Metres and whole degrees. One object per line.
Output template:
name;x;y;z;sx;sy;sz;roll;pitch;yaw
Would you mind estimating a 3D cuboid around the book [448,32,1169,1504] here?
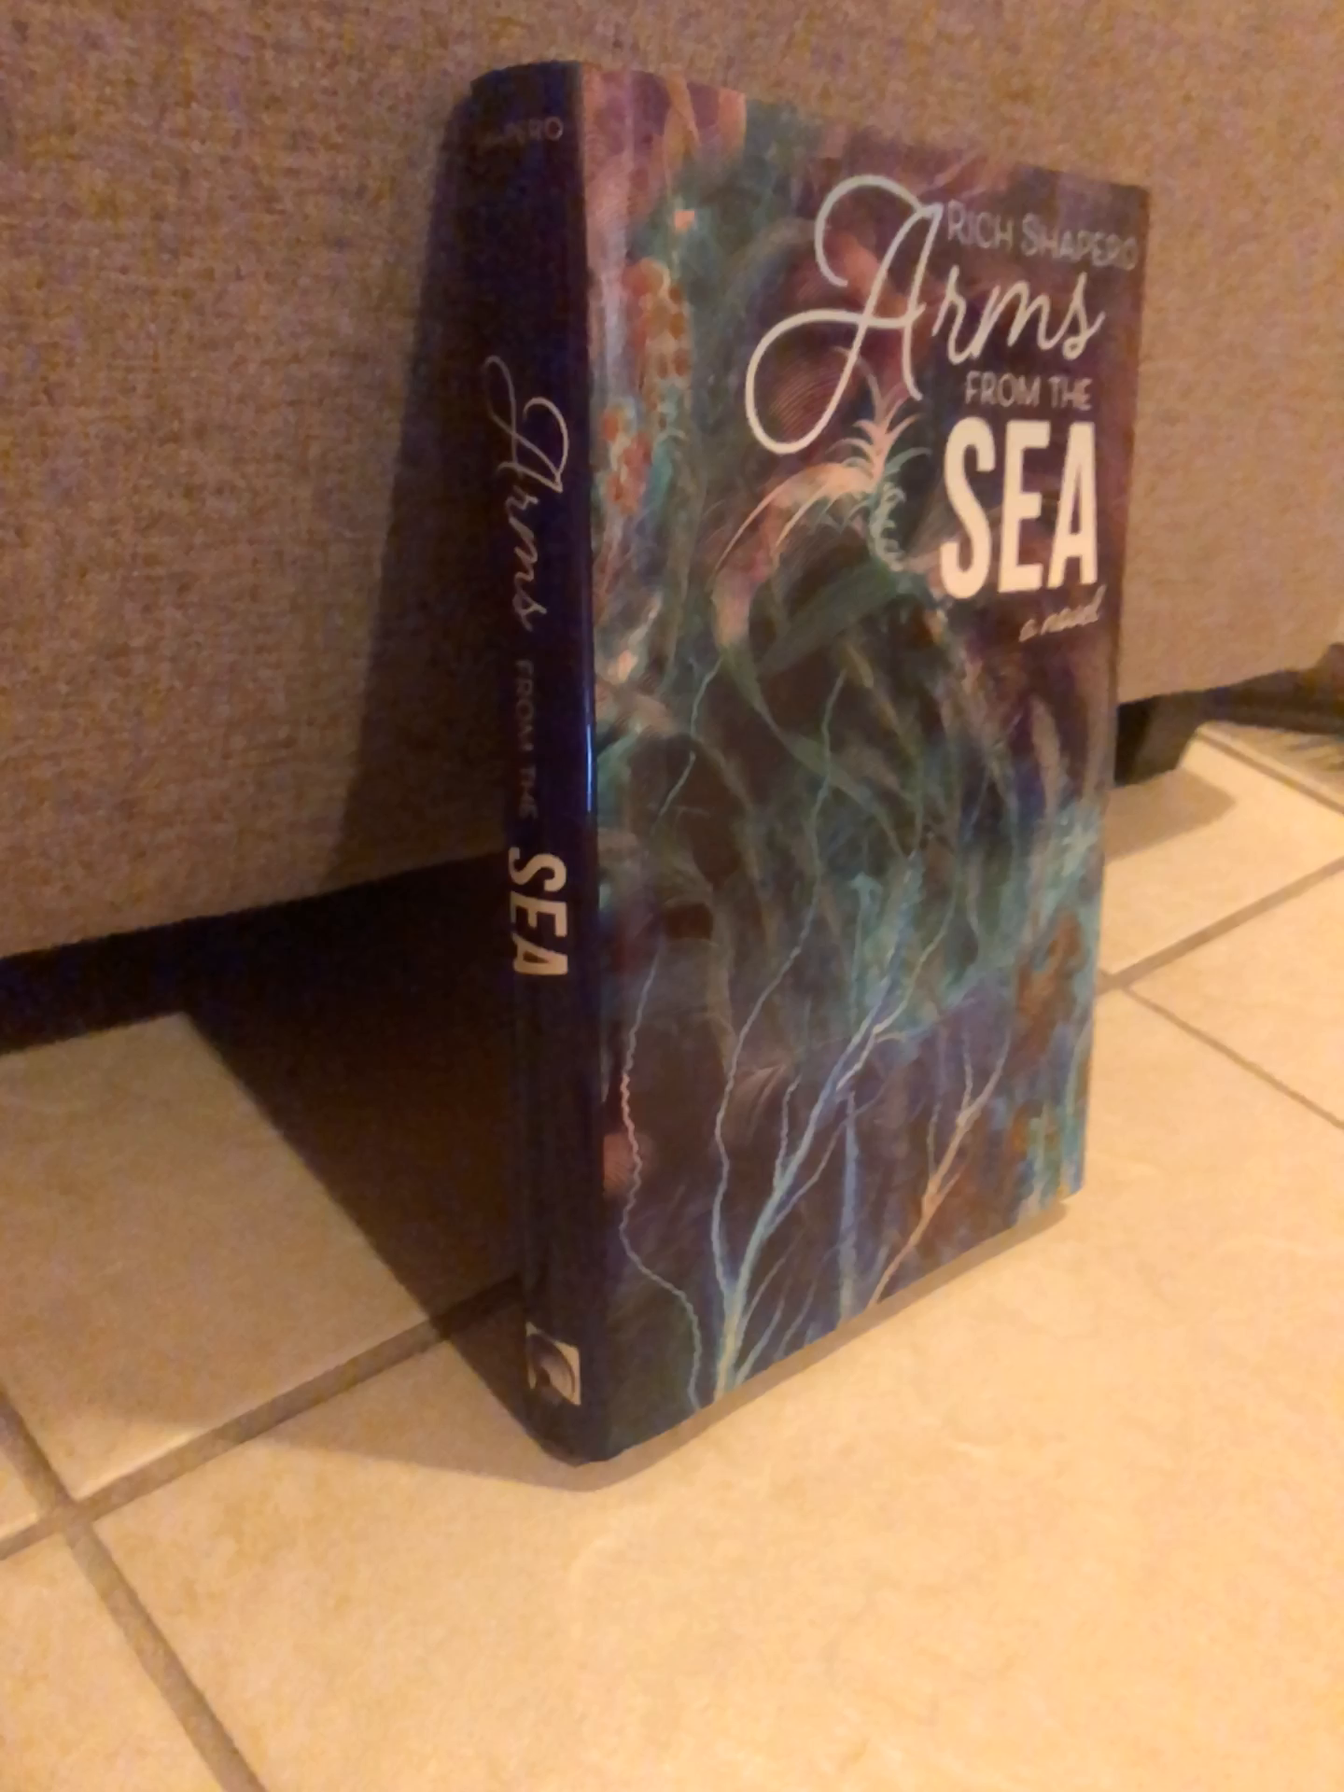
book;0.036;-0.024;0.292;0.157;0.228;0.030;-15;20;-42
